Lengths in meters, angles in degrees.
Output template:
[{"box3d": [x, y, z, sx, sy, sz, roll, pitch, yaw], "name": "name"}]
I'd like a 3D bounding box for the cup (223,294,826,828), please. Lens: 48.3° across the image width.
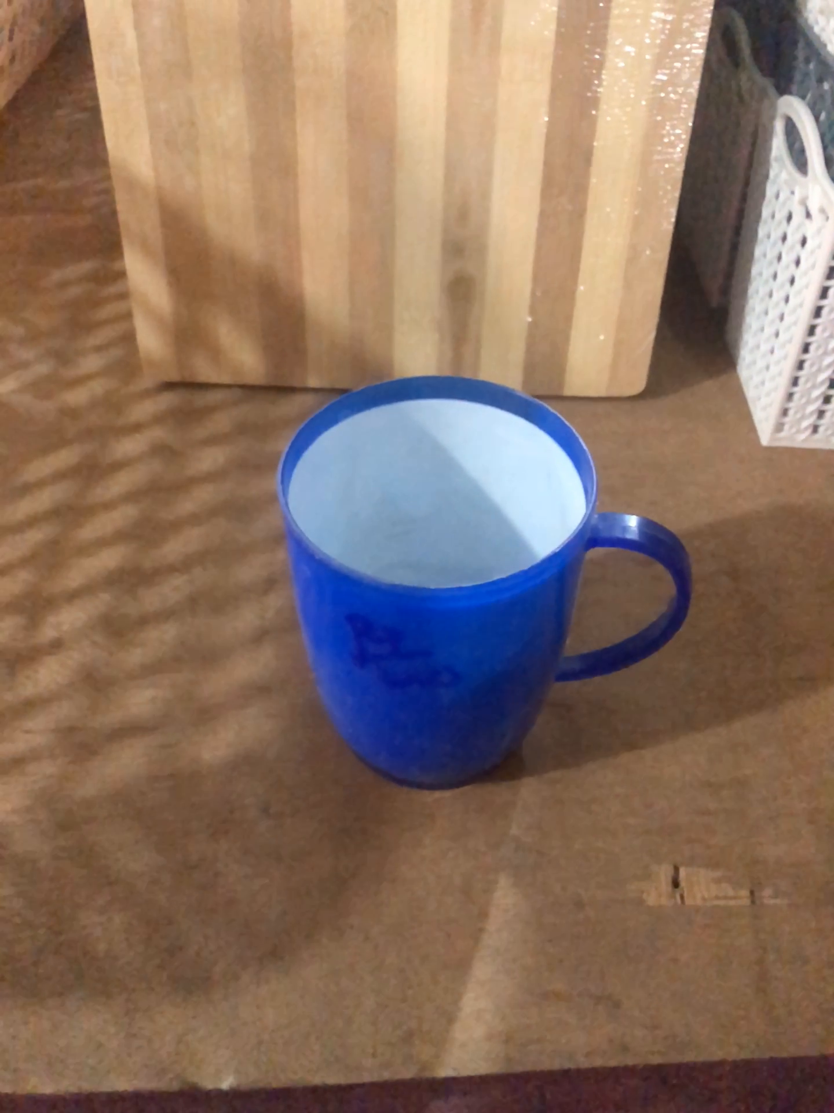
[{"box3d": [0.023, 0.005, 0.234, 0.110, 0.109, 0.070, 5, 48, 5], "name": "cup"}]
